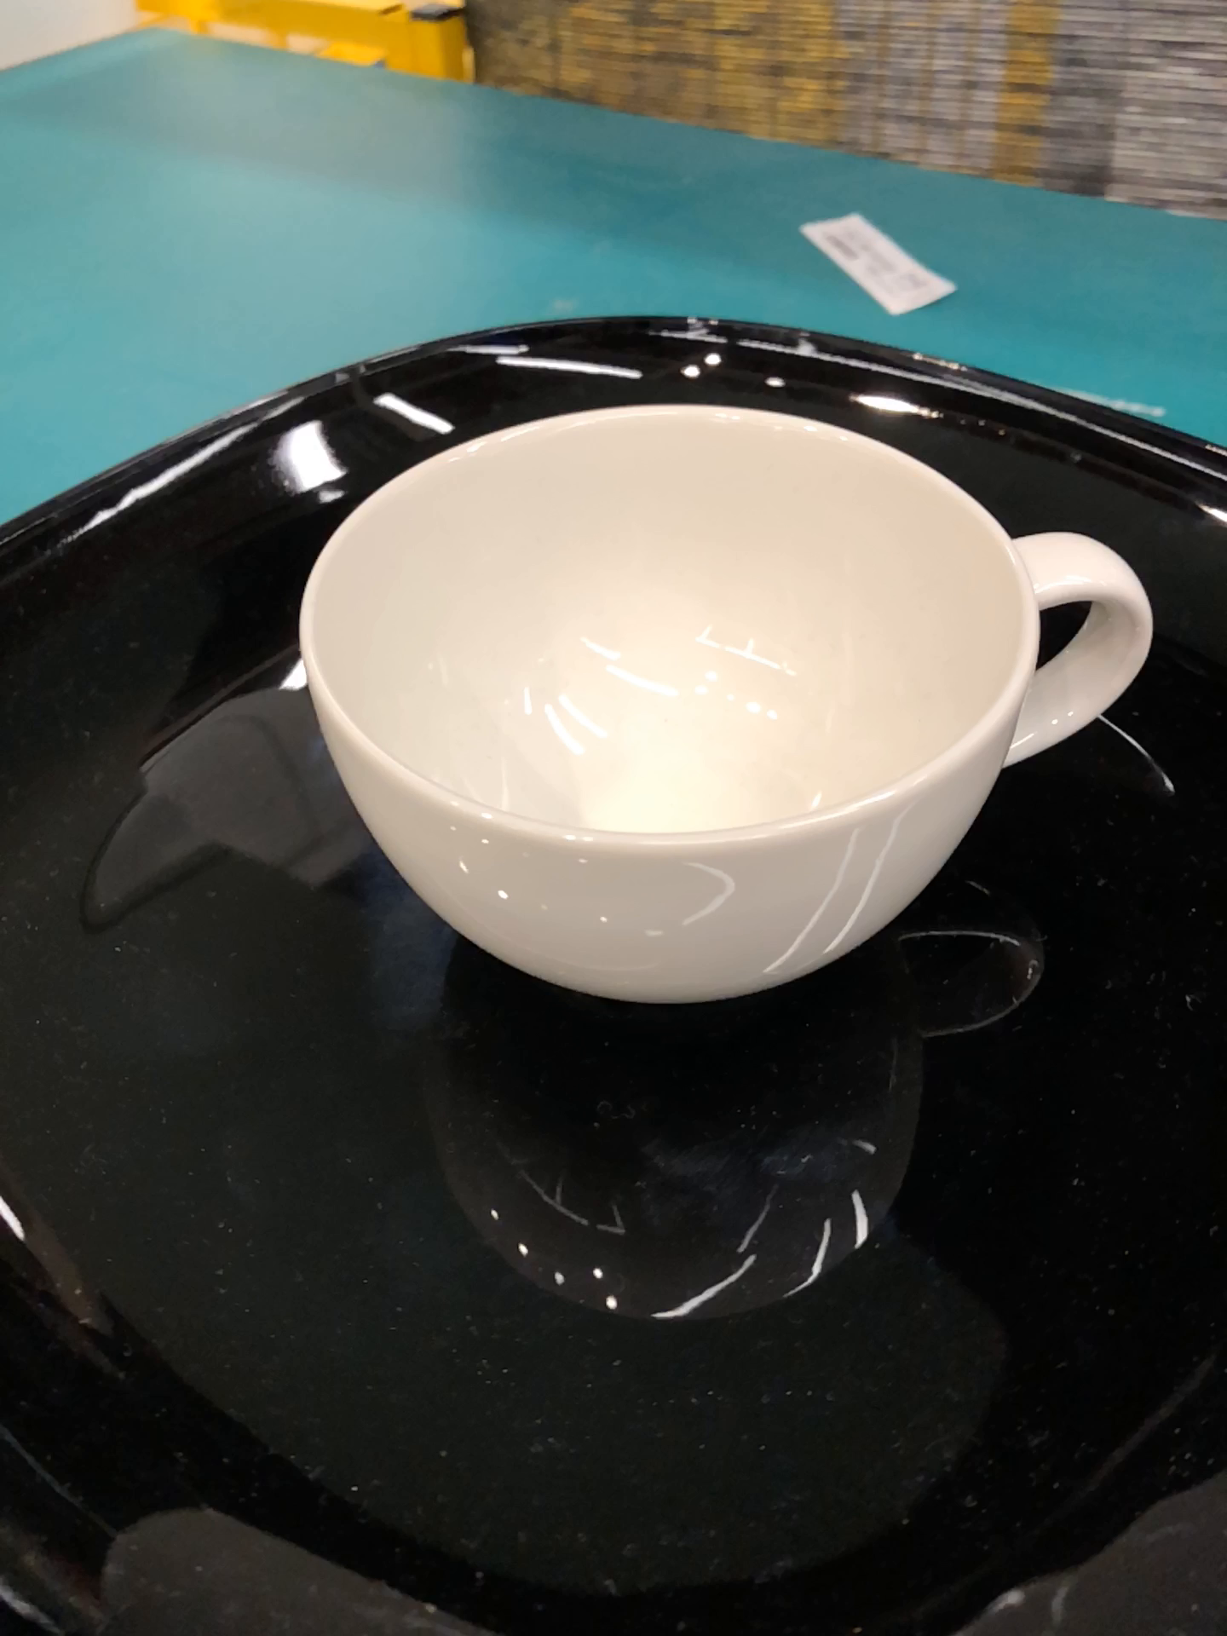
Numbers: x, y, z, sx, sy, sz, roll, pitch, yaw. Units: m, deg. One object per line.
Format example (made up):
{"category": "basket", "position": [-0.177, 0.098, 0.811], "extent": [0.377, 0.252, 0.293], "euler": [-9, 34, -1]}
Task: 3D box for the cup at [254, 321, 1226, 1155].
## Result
{"category": "cup", "position": [0.022, -0.024, 0.213], "extent": [0.130, 0.040, 0.110], "euler": [-16, 44, -12]}
